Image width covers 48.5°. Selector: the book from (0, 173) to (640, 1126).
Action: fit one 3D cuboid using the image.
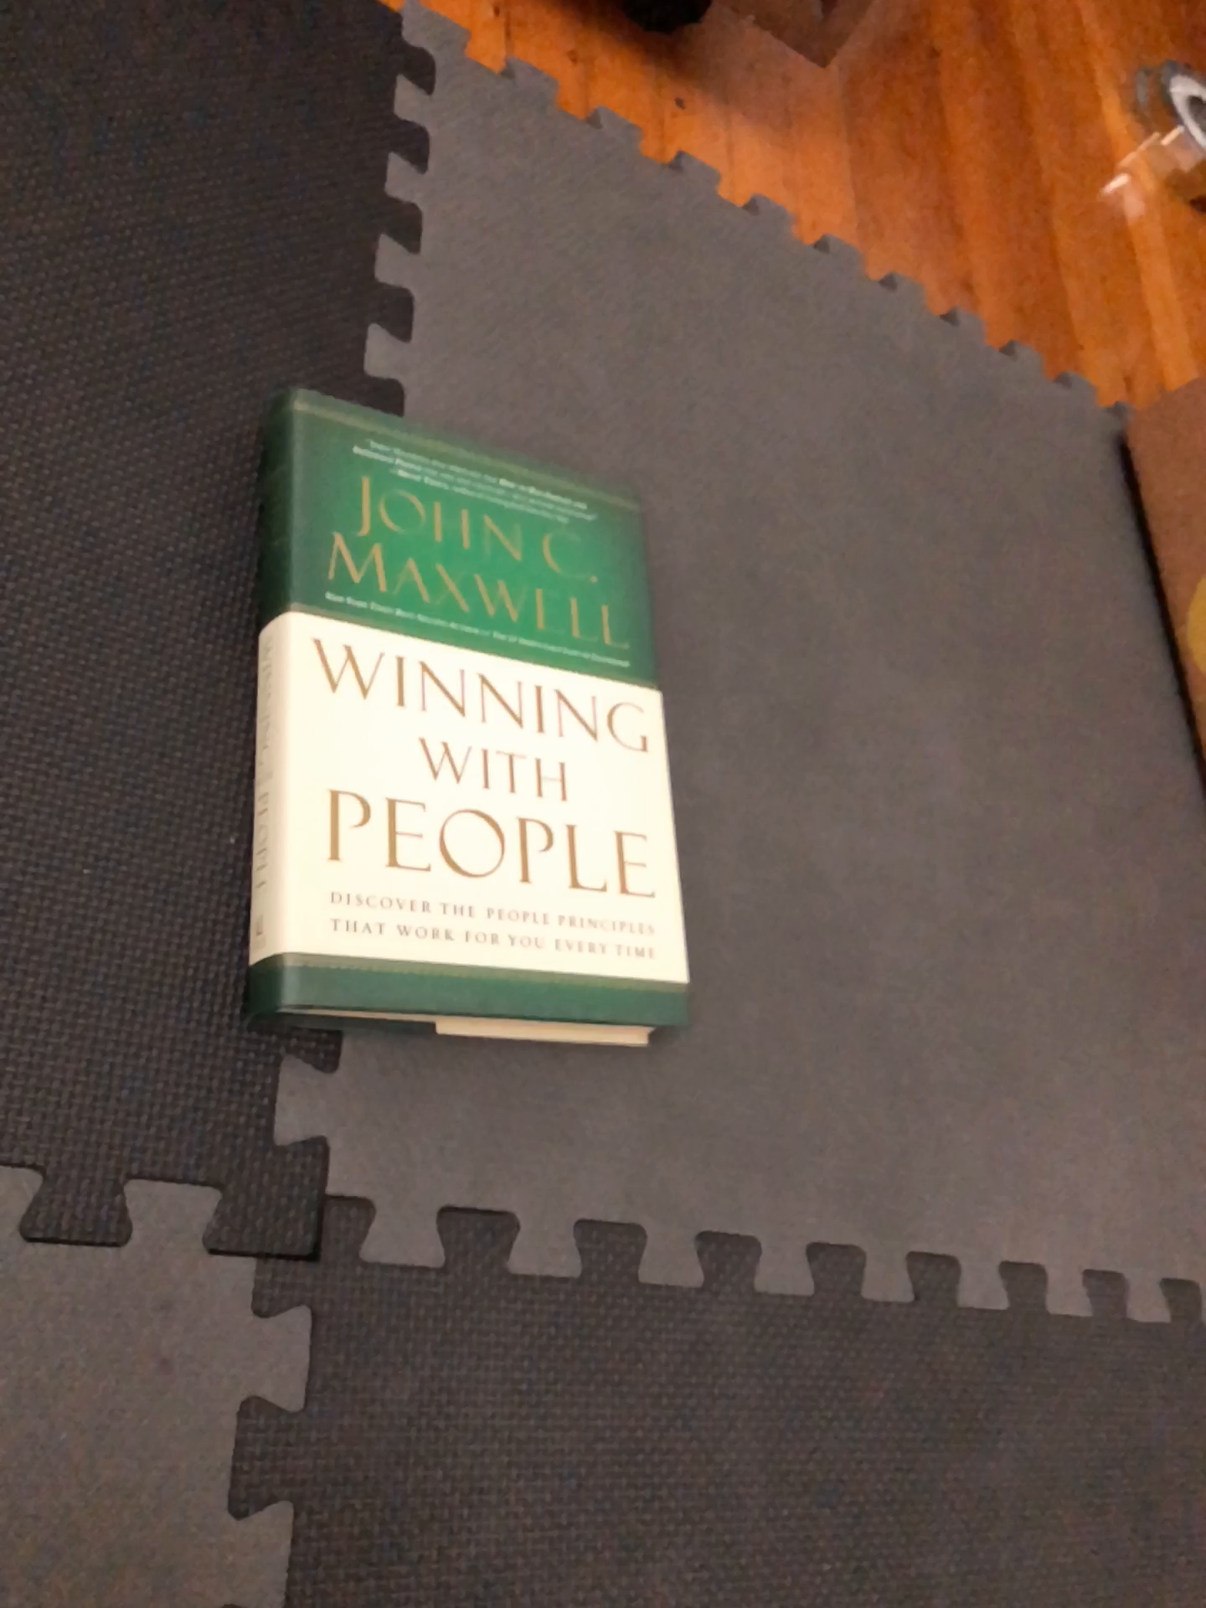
[{"bbox_3d":[-0.088,-0.050,0.439,0.200,0.030,0.291,12,62,-30],"label":"book"}]
